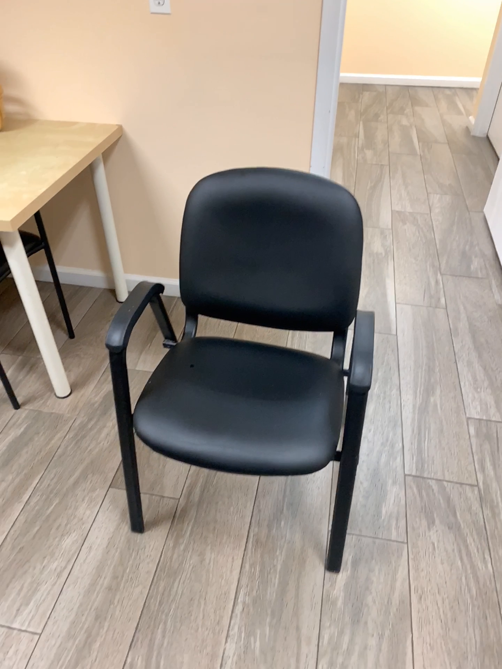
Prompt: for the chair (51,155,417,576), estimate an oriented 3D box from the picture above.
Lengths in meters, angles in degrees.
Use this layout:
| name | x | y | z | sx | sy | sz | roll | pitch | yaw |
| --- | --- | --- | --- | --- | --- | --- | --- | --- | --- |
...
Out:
| name | x | y | z | sx | sy | sz | roll | pitch | yaw |
| --- | --- | --- | --- | --- | --- | --- | --- | --- | --- |
| chair | 0.019 | 0.067 | 1.309 | 0.606 | 0.795 | 0.627 | 7 | 40 | 9 |
